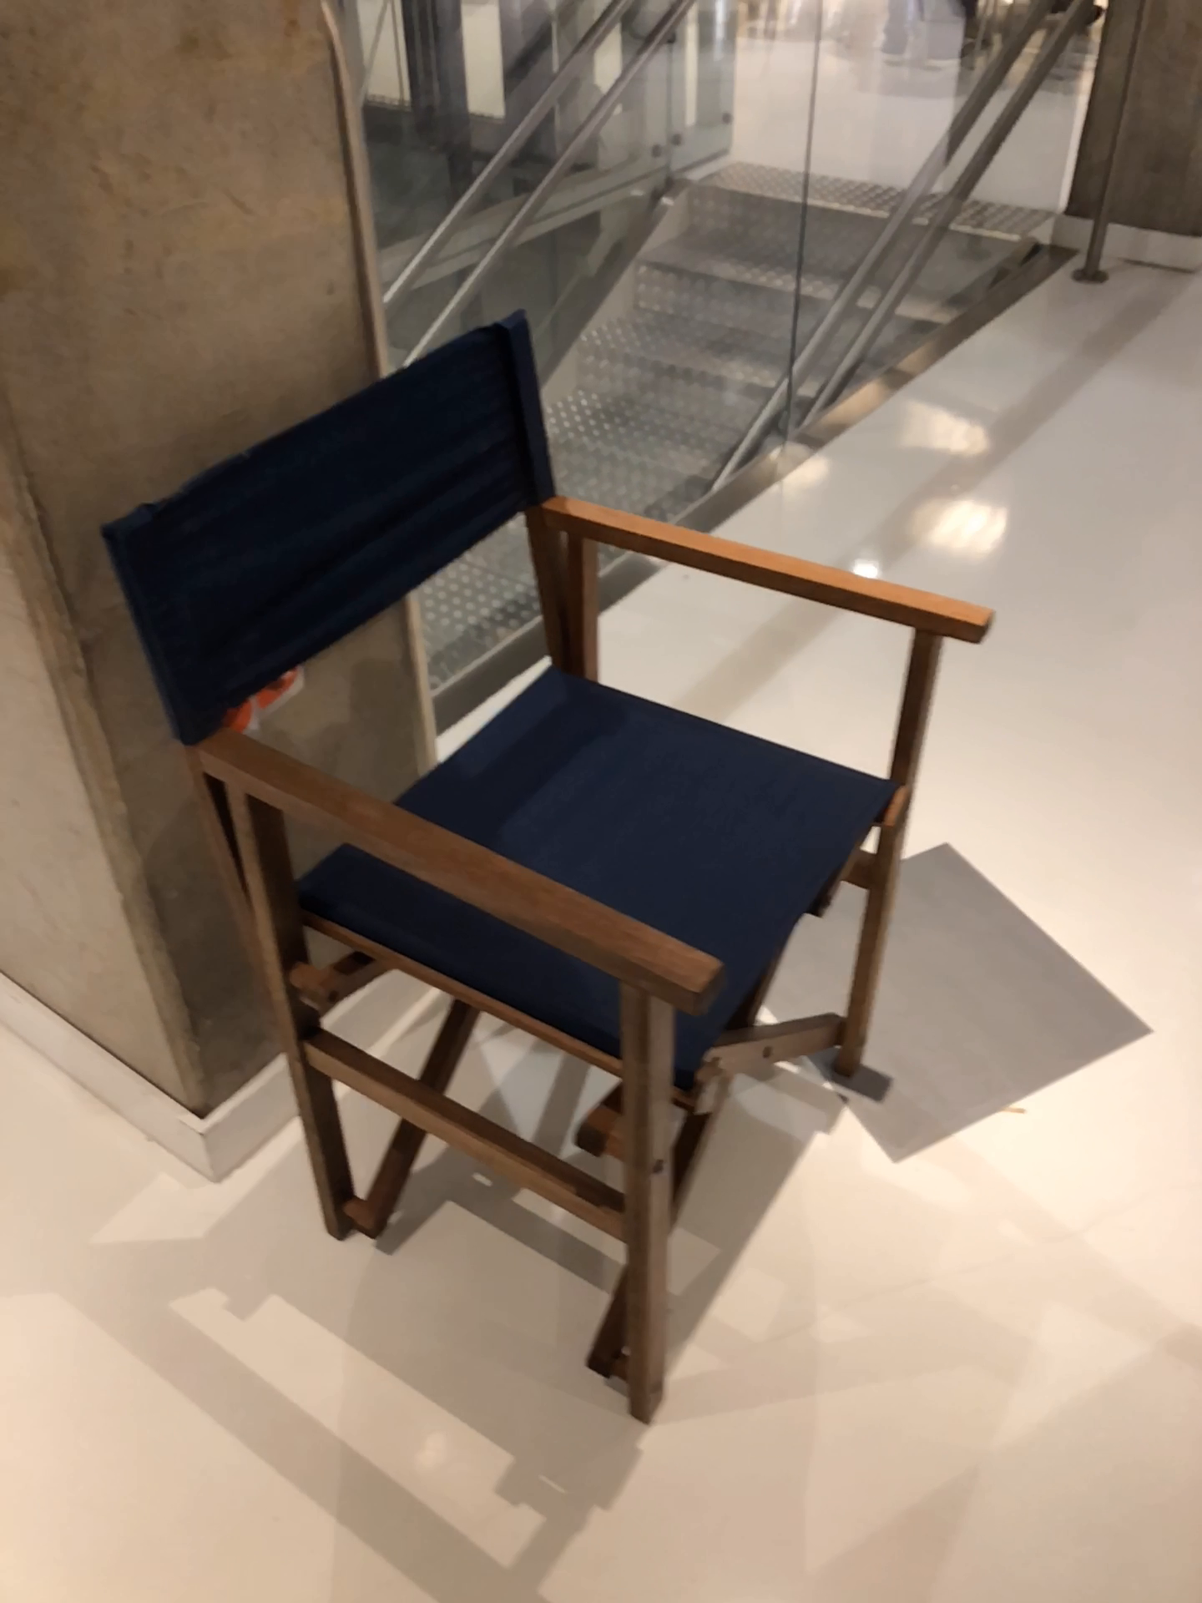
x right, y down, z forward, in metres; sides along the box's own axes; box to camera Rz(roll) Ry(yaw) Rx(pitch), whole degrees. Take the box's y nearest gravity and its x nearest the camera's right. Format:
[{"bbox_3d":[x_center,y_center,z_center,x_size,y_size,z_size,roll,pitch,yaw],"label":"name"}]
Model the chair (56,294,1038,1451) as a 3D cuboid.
[{"bbox_3d":[-0.008,0.043,1.248,0.501,0.774,0.583,22,45,26],"label":"chair"}]
